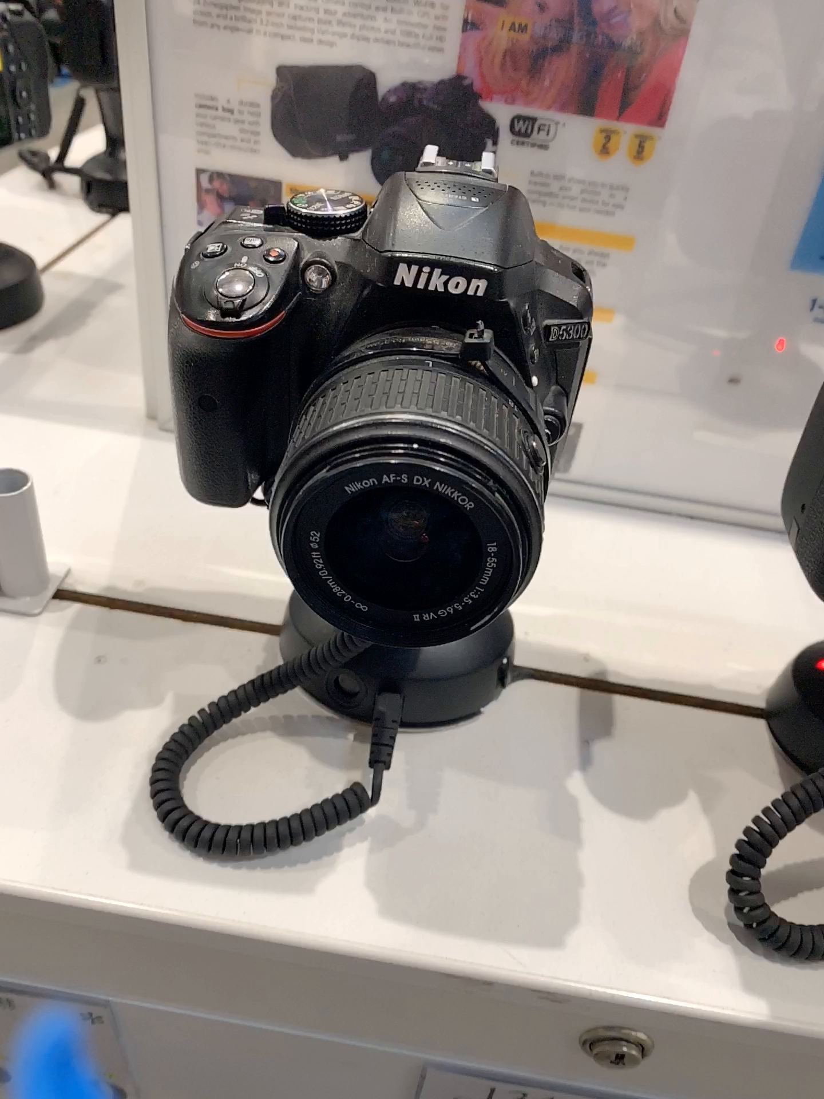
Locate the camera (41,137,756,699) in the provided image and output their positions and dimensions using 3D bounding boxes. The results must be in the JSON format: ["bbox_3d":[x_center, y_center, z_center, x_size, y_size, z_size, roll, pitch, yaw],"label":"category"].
[{"bbox_3d":[-0.002,-0.045,0.220,0.120,0.069,0.141,7,37,-2],"label":"camera"}]
